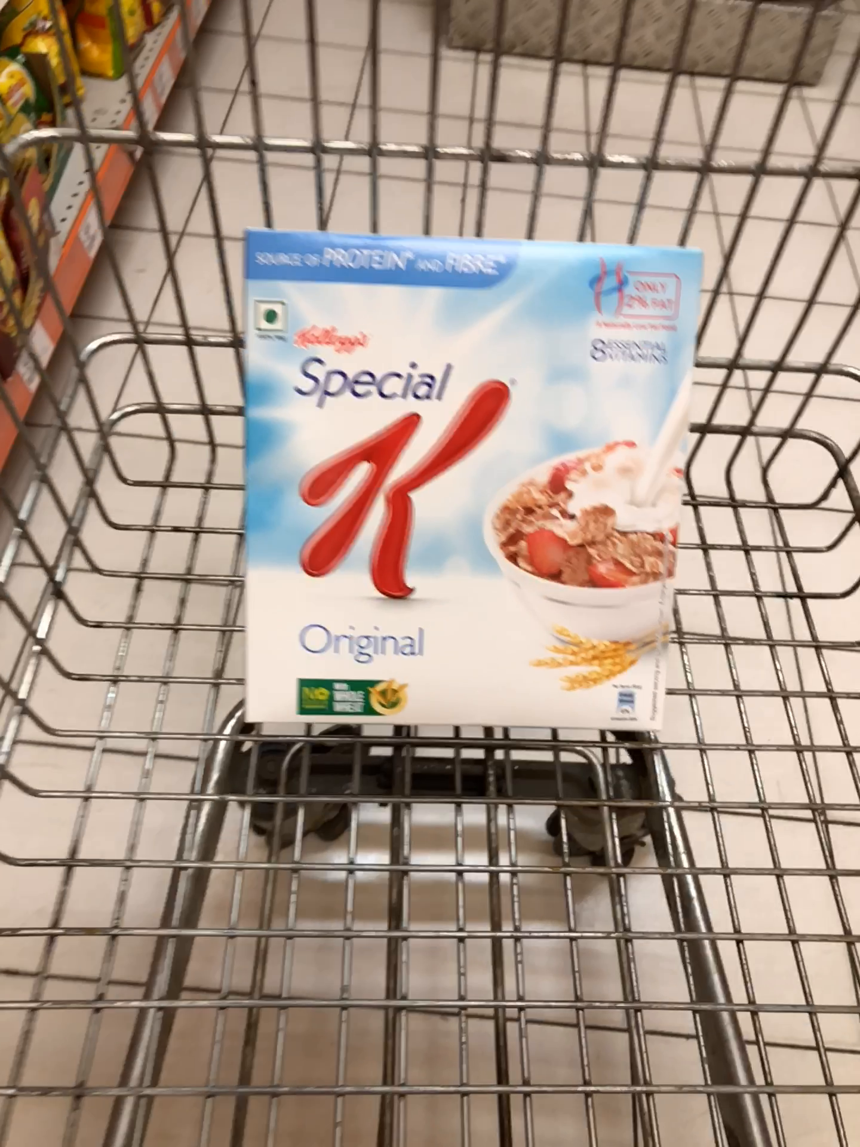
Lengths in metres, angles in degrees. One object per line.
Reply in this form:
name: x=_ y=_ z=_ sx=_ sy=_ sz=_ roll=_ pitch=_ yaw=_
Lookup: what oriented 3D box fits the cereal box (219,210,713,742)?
cereal box: x=0.010 y=-0.039 z=0.419 sx=0.190 sy=0.210 sz=0.070 roll=1 pitch=11 yaw=-4
